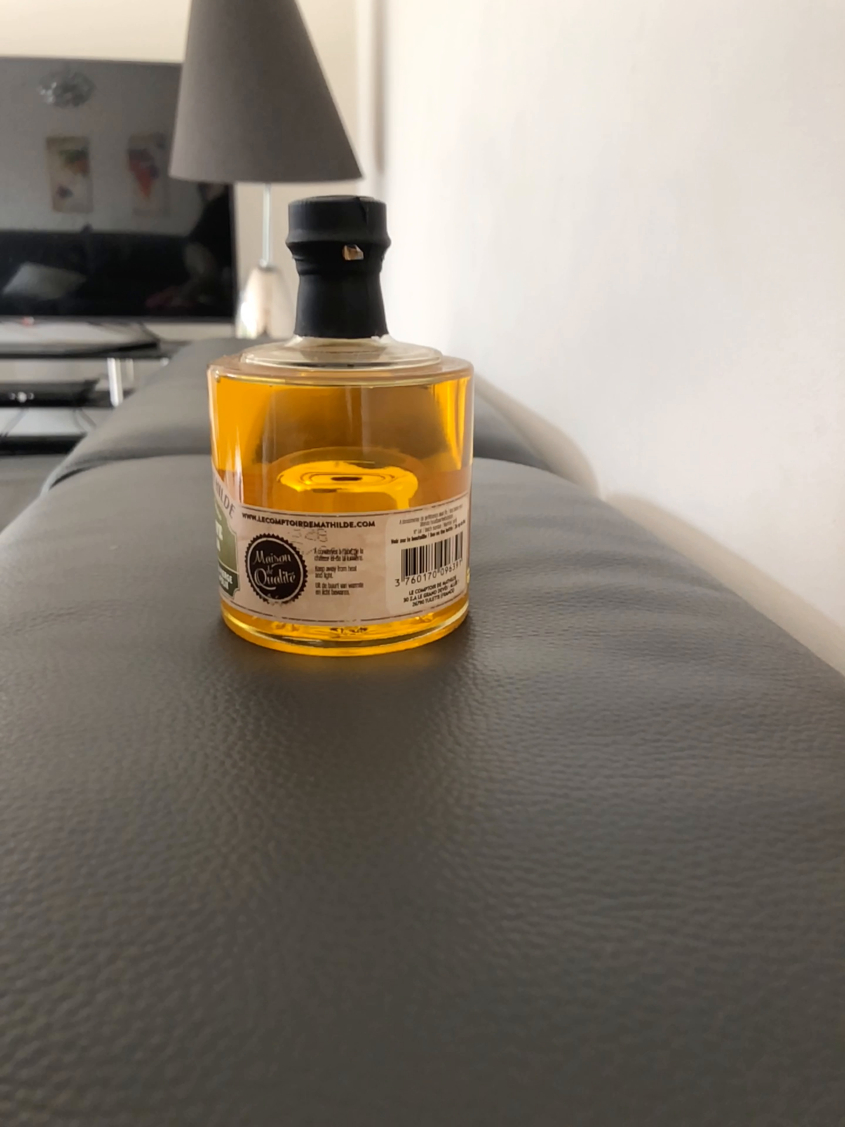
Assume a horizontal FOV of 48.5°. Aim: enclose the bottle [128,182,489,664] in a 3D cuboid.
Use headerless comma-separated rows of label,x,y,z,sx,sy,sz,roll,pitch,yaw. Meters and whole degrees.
bottle,-0.027,-0.048,0.299,0.090,0.129,0.090,1,18,0
